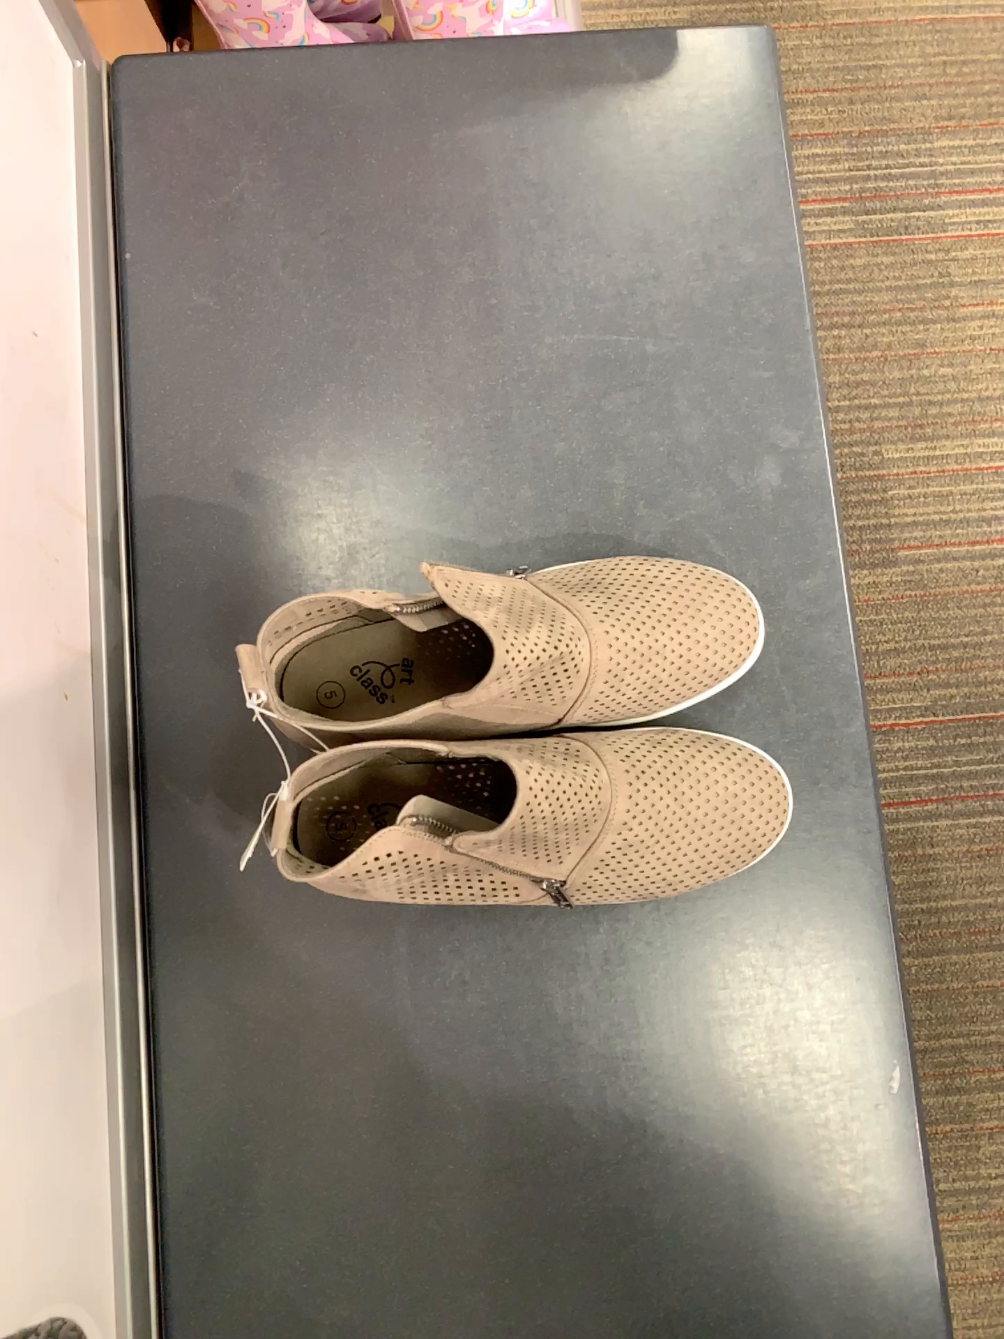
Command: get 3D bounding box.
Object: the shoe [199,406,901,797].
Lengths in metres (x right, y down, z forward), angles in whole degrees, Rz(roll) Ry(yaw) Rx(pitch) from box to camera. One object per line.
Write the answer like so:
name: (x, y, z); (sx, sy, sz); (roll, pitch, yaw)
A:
shoe: (0.017, -0.020, 0.458); (0.250, 0.140, 0.100); (-12, 82, -3)

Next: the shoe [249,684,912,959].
shoe: (0.028, 0.067, 0.464); (0.250, 0.140, 0.100); (-1, 82, -1)
